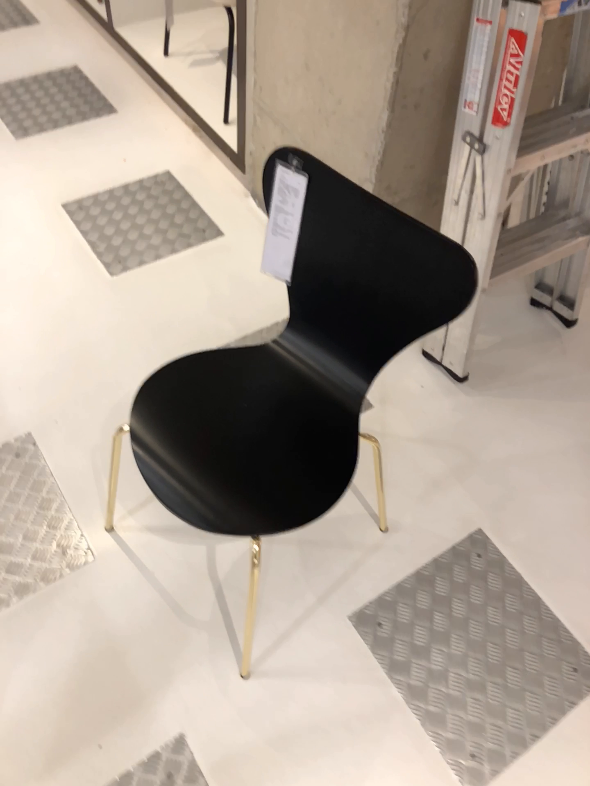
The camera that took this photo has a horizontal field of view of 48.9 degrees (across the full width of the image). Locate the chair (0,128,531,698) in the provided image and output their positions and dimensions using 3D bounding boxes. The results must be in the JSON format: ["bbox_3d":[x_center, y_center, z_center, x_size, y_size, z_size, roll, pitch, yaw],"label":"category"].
[{"bbox_3d":[-0.063,0.075,1.198,0.511,0.776,0.542,40,60,23],"label":"chair"}]
